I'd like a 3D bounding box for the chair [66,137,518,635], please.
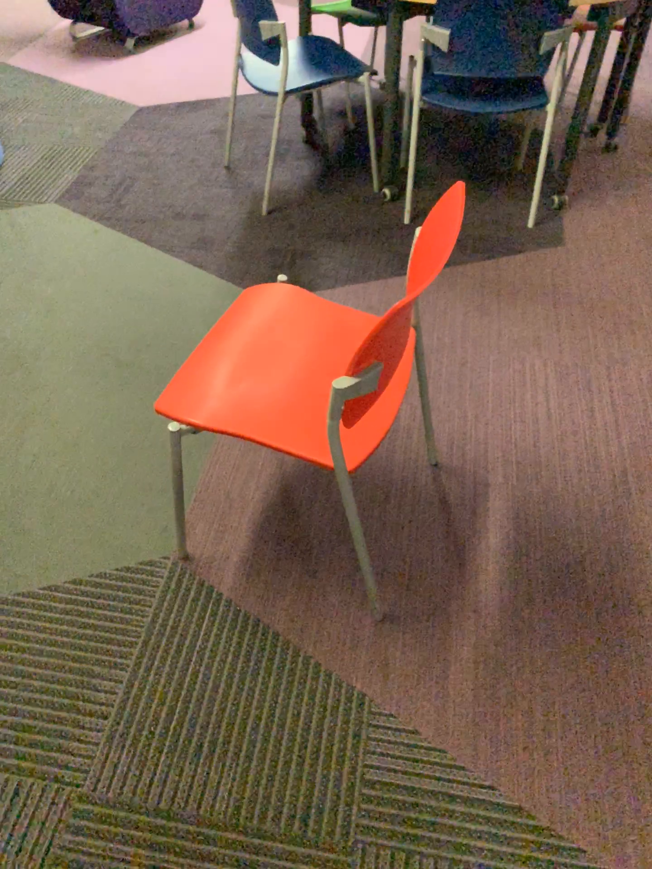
[{"bbox_3d":[-0.028,-0.105,1.336,0.561,0.684,0.544,18,47,17],"label":"chair"}]
